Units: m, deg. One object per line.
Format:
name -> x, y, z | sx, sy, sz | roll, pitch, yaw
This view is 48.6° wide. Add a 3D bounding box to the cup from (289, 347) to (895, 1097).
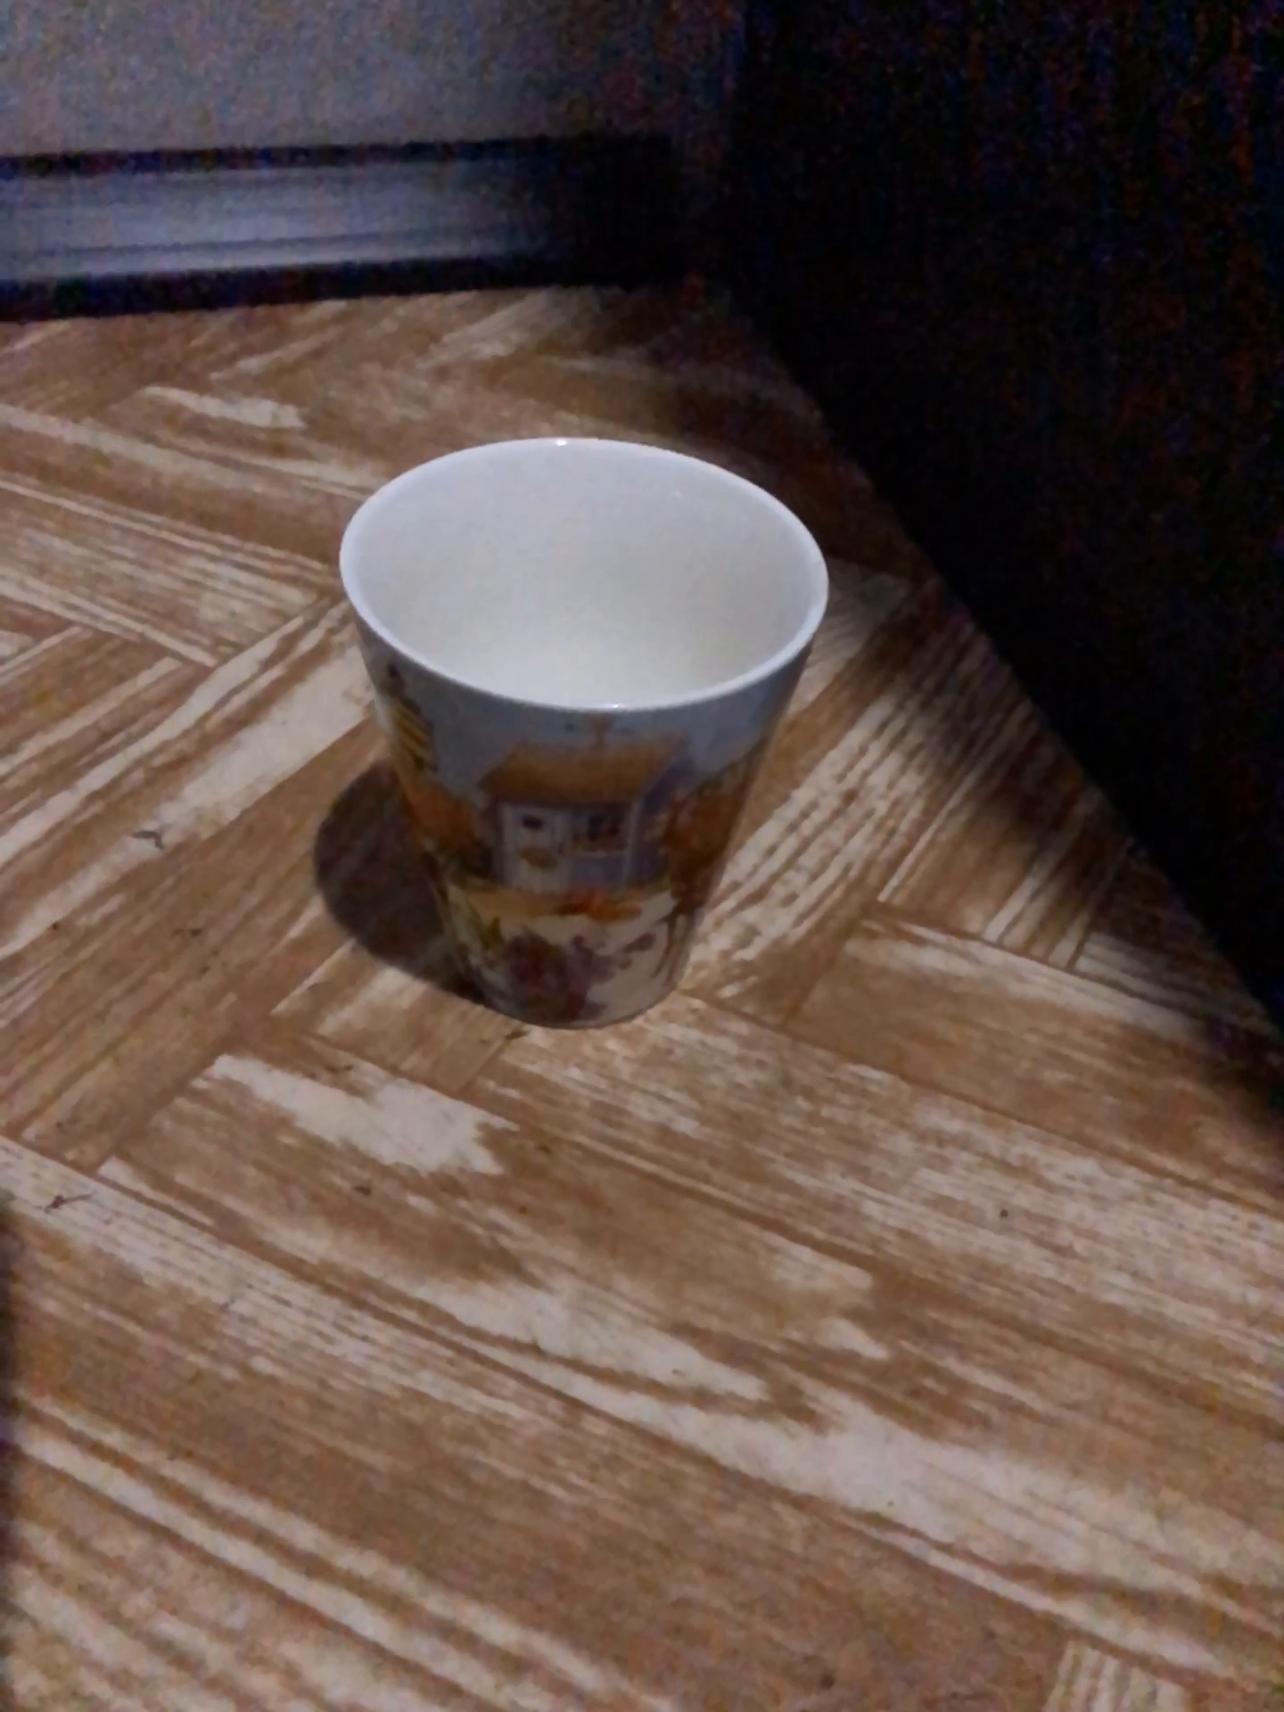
cup -> -0.019, -0.033, 0.298 | 0.087, 0.092, 0.121 | -9, 45, -14
